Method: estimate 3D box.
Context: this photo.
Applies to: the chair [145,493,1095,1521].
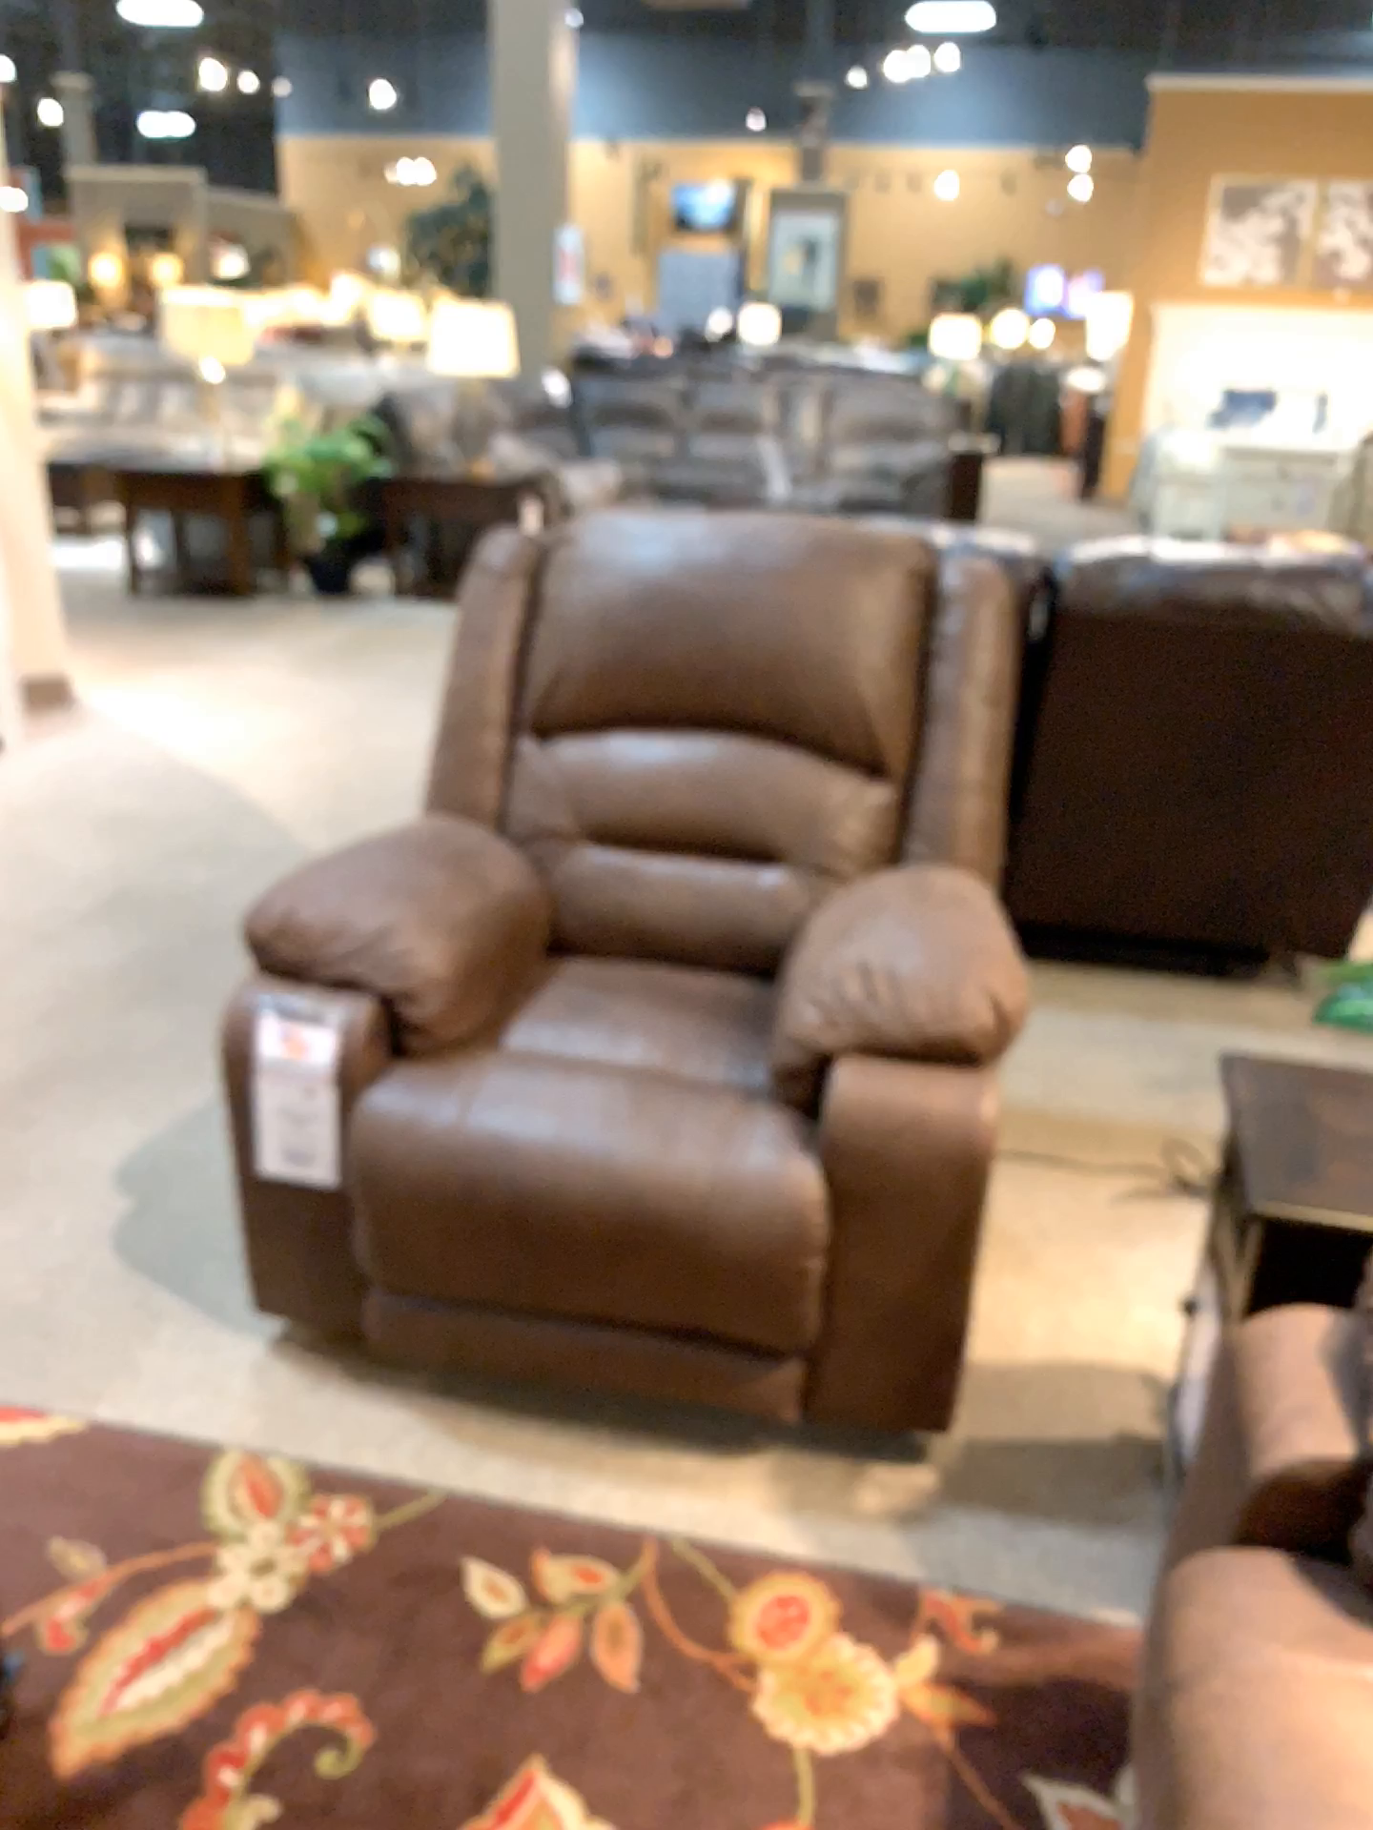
[{"bbox_3d":[0.010,-0.004,2.131,1.001,1.028,1.069,7,23,12],"label":"chair"}]
